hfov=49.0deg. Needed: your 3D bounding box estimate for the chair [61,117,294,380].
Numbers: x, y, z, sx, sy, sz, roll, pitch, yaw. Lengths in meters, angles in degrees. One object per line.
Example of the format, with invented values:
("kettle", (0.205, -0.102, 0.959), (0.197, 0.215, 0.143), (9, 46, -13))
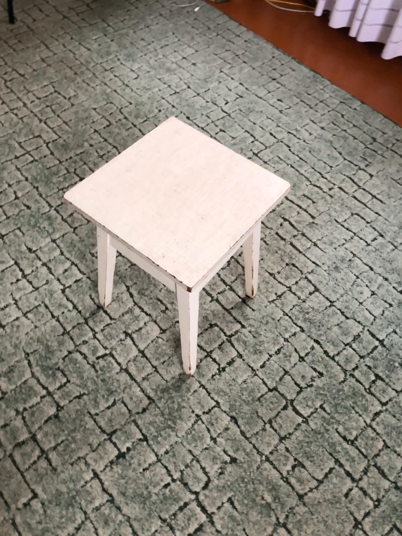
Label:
("chair", (-0.052, -0.031, 1.078), (0.332, 0.447, 0.336), (35, 62, 18))
